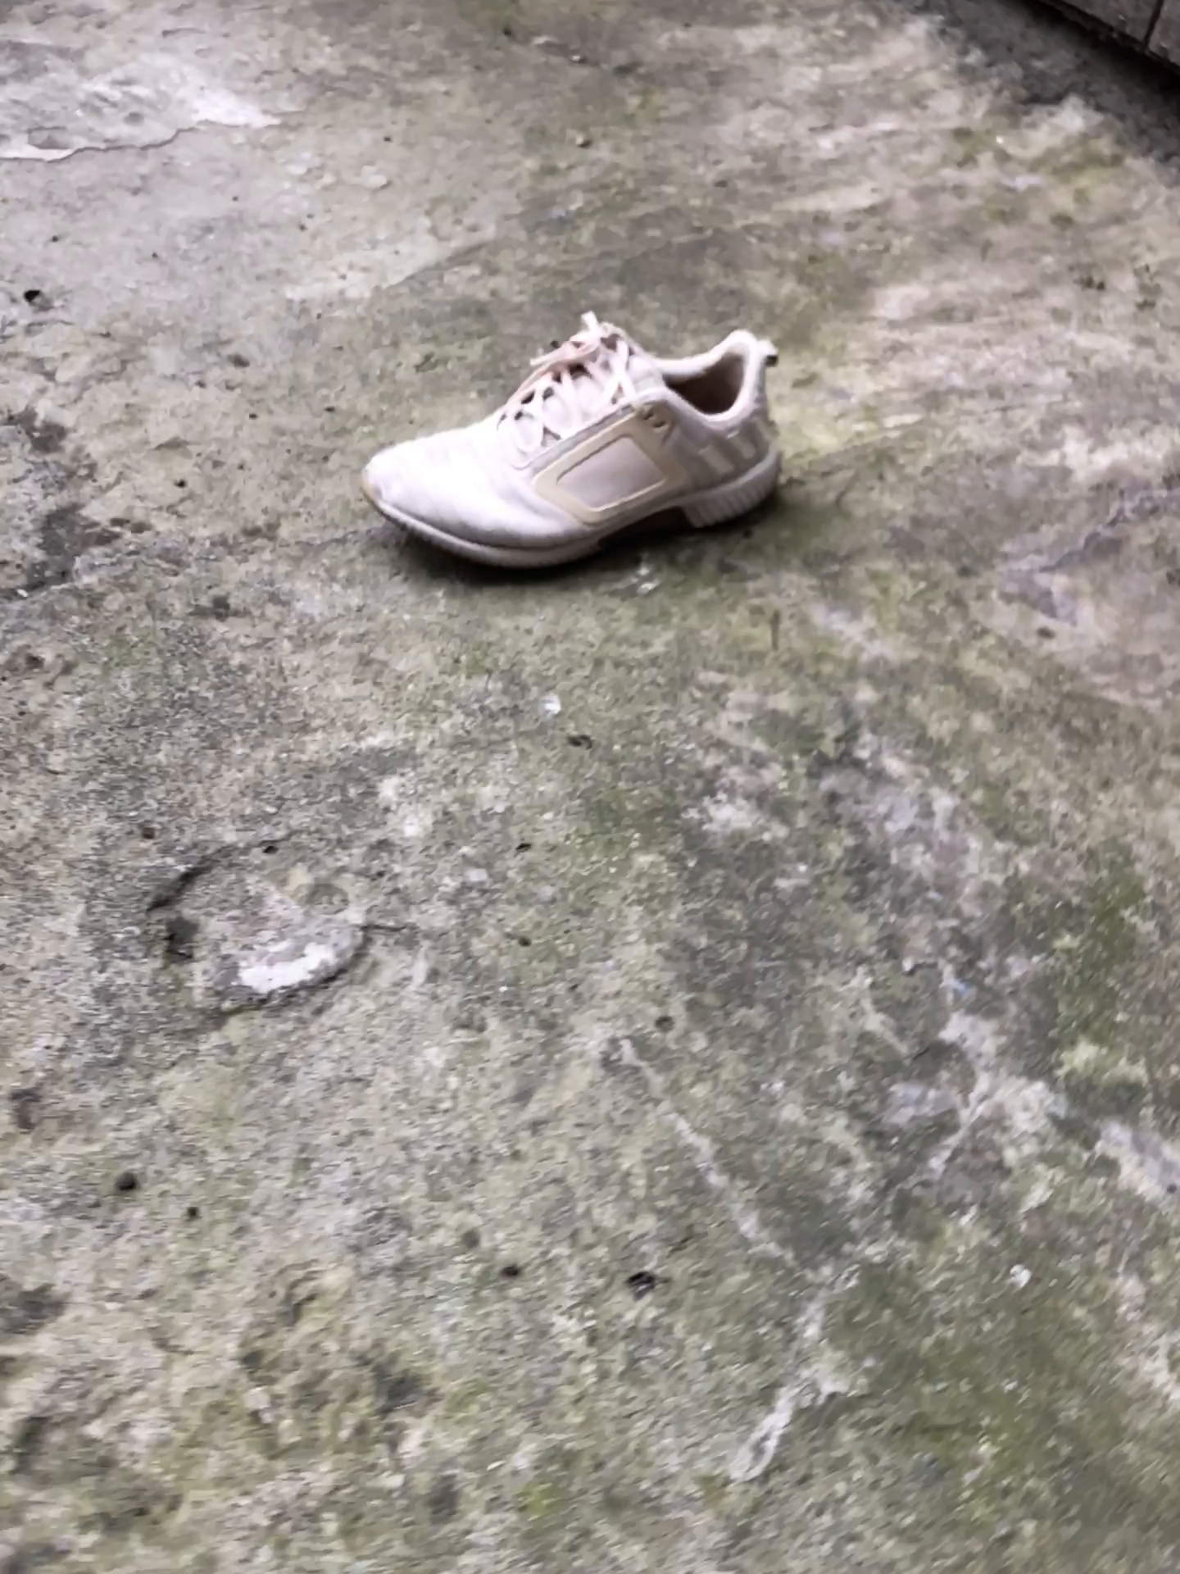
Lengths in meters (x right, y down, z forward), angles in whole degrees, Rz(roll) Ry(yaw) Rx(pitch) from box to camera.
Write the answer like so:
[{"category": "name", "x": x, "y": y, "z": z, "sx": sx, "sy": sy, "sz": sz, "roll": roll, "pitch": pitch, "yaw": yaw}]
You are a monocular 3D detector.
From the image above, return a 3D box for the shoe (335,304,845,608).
[{"category": "shoe", "x": -0.002, "y": -0.224, "z": 0.855, "sx": 0.301, "sy": 0.109, "sz": 0.121, "roll": -15, "pitch": 48, "yaw": -22}]
